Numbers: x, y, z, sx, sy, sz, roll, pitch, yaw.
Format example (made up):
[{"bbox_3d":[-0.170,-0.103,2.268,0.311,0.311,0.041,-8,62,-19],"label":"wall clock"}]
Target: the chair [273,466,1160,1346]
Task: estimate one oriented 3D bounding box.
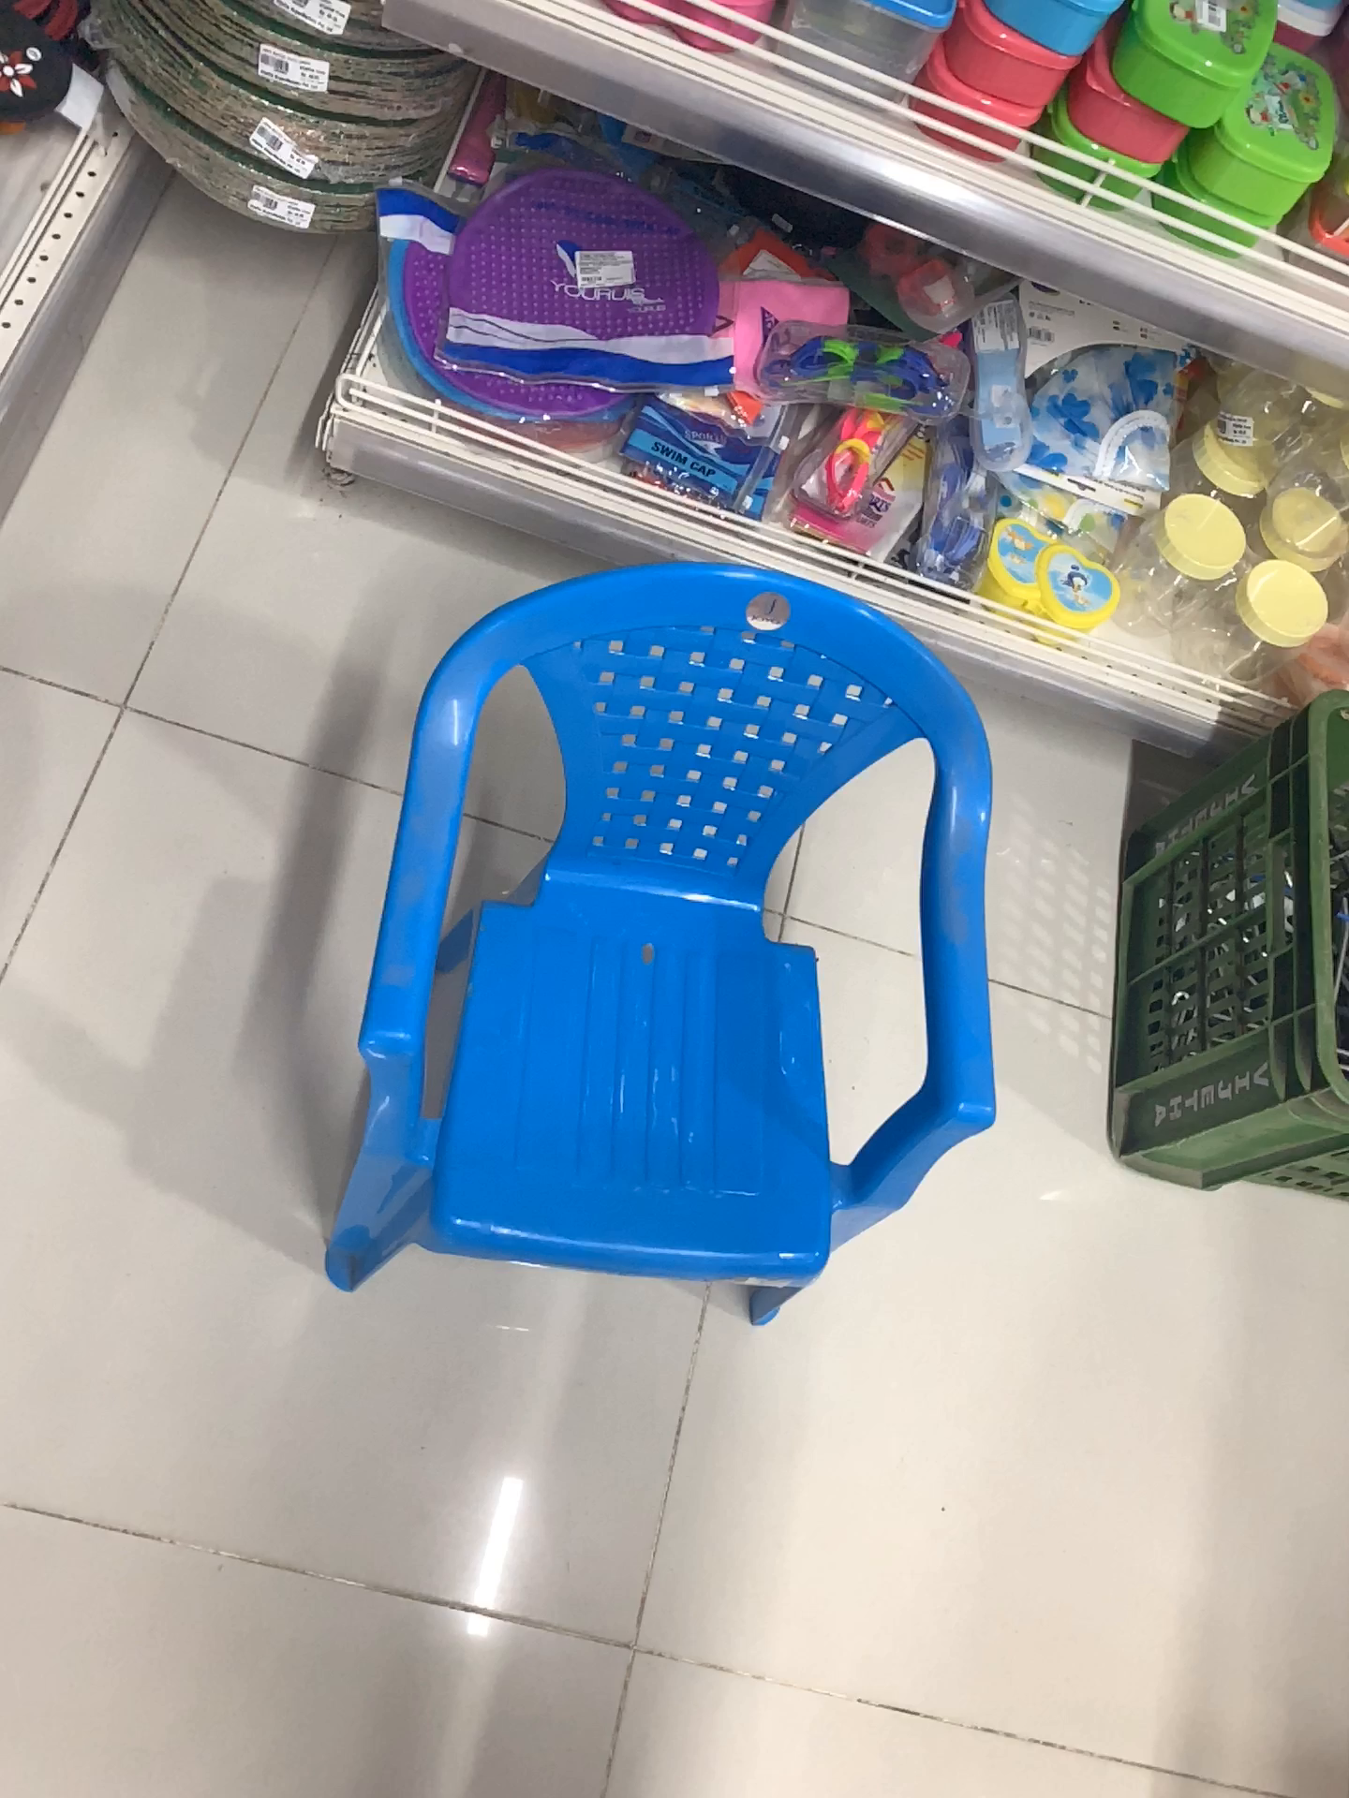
[{"bbox_3d":[-0.015,0.069,0.894,0.400,0.509,0.360,10,67,-11],"label":"chair"}]
